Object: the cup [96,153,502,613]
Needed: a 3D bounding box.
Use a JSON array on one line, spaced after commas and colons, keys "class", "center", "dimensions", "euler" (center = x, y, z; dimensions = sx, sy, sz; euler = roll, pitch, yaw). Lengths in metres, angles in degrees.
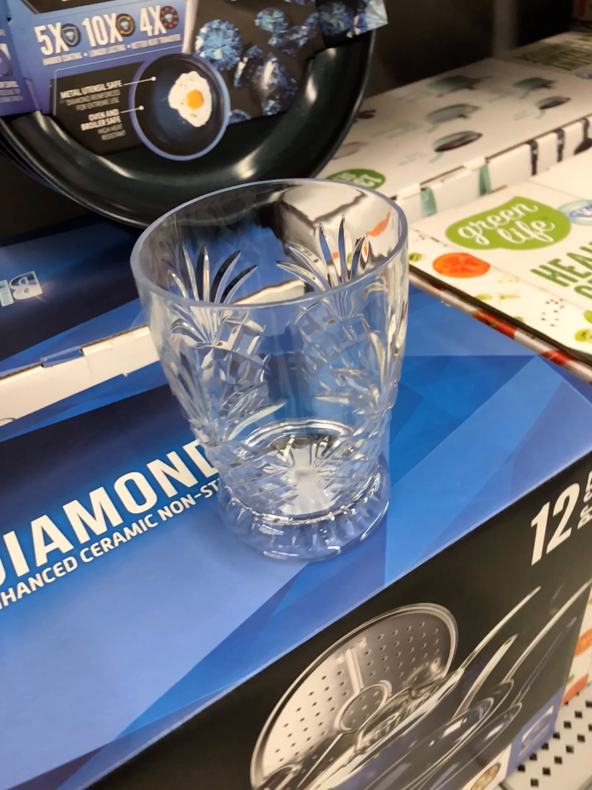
[{"class": "cup", "center": [0.003, -0.009, 0.241], "dimensions": [0.092, 0.113, 0.088], "euler": [-4, 39, 3]}]
